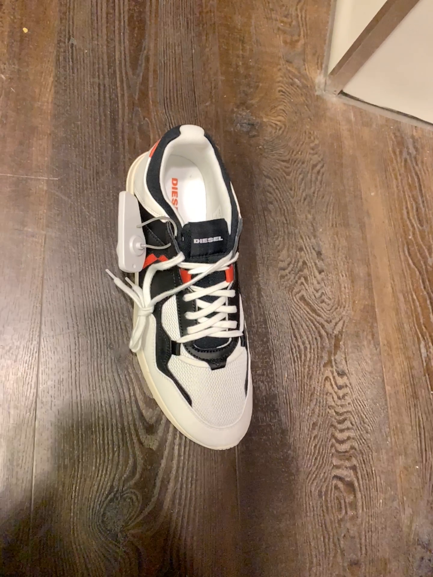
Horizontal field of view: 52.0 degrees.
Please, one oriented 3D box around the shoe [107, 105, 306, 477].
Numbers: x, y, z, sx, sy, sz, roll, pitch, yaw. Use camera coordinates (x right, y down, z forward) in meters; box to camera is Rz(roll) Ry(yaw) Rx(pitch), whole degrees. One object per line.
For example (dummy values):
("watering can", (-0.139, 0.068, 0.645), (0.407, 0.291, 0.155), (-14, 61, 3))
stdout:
("shoe", (-0.023, -0.003, 0.416), (0.110, 0.110, 0.300), (-6, 78, -20))
